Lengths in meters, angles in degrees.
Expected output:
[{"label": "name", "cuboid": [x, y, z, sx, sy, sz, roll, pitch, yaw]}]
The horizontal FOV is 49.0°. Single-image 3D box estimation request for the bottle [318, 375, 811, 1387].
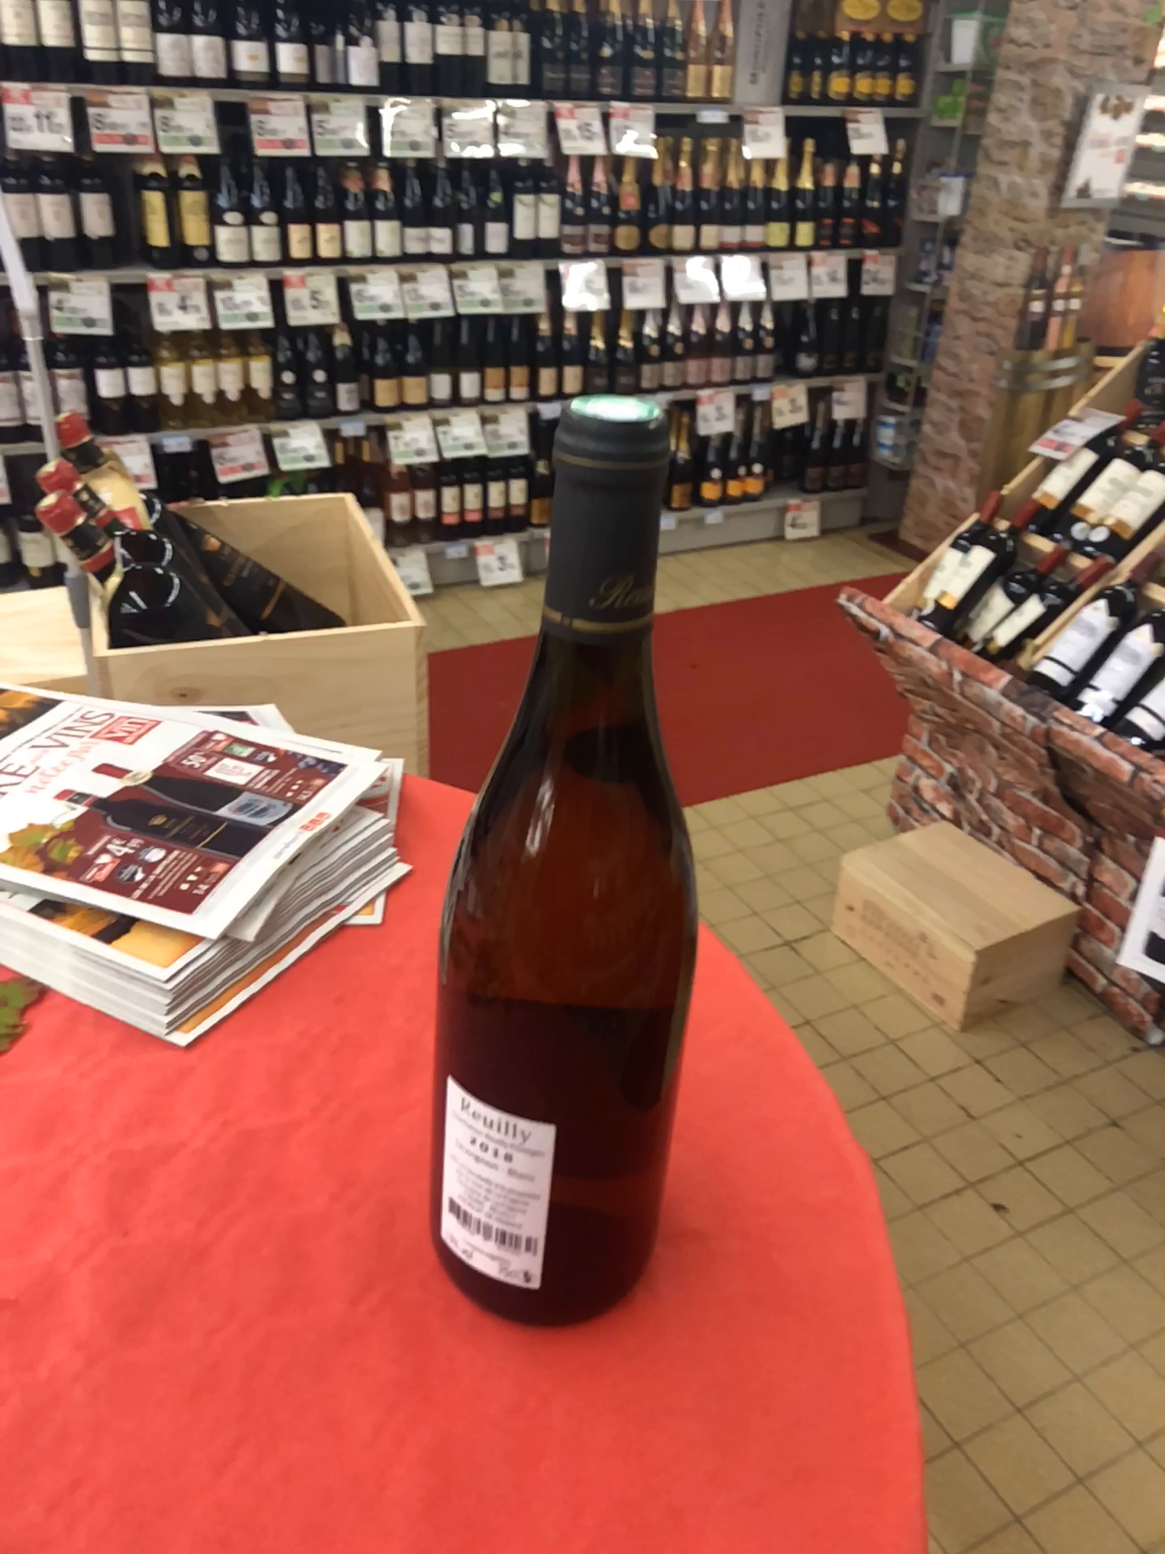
[{"label": "bottle", "cuboid": [-0.007, 0.037, 0.381, 0.090, 0.278, 0.091, 2, 29, -1]}]
